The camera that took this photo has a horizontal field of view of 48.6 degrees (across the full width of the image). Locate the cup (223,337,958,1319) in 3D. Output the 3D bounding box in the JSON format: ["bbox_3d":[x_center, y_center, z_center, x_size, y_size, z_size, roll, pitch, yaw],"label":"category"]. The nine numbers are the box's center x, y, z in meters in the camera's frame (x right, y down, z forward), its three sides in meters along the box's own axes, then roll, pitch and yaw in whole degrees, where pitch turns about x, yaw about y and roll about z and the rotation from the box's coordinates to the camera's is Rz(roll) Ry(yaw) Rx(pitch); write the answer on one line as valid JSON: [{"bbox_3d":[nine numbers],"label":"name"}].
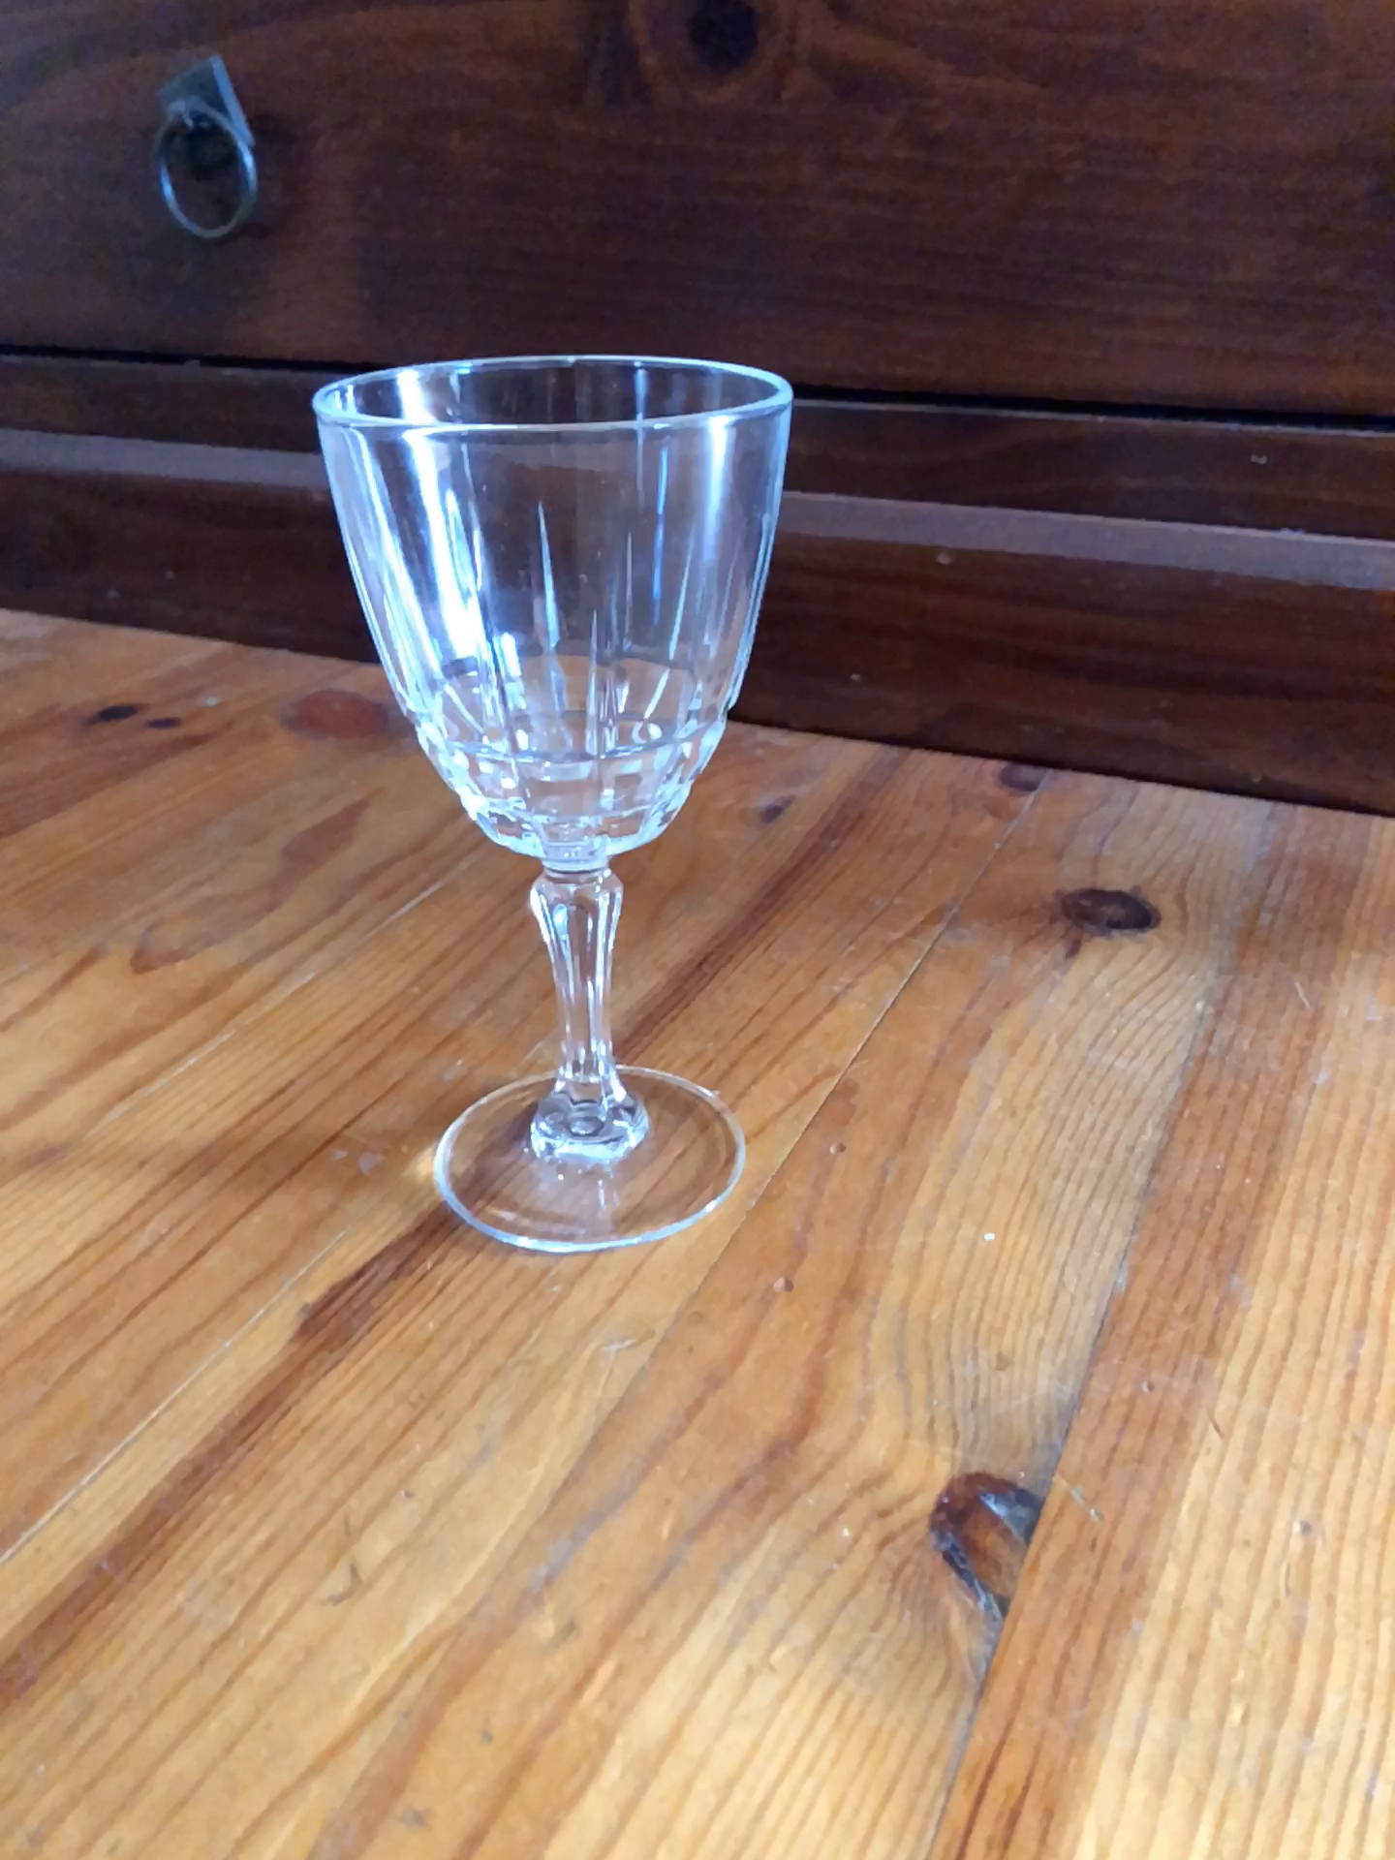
[{"bbox_3d":[-0.015,-0.024,0.278,0.084,0.141,0.084,1,27,0],"label":"cup"}]
